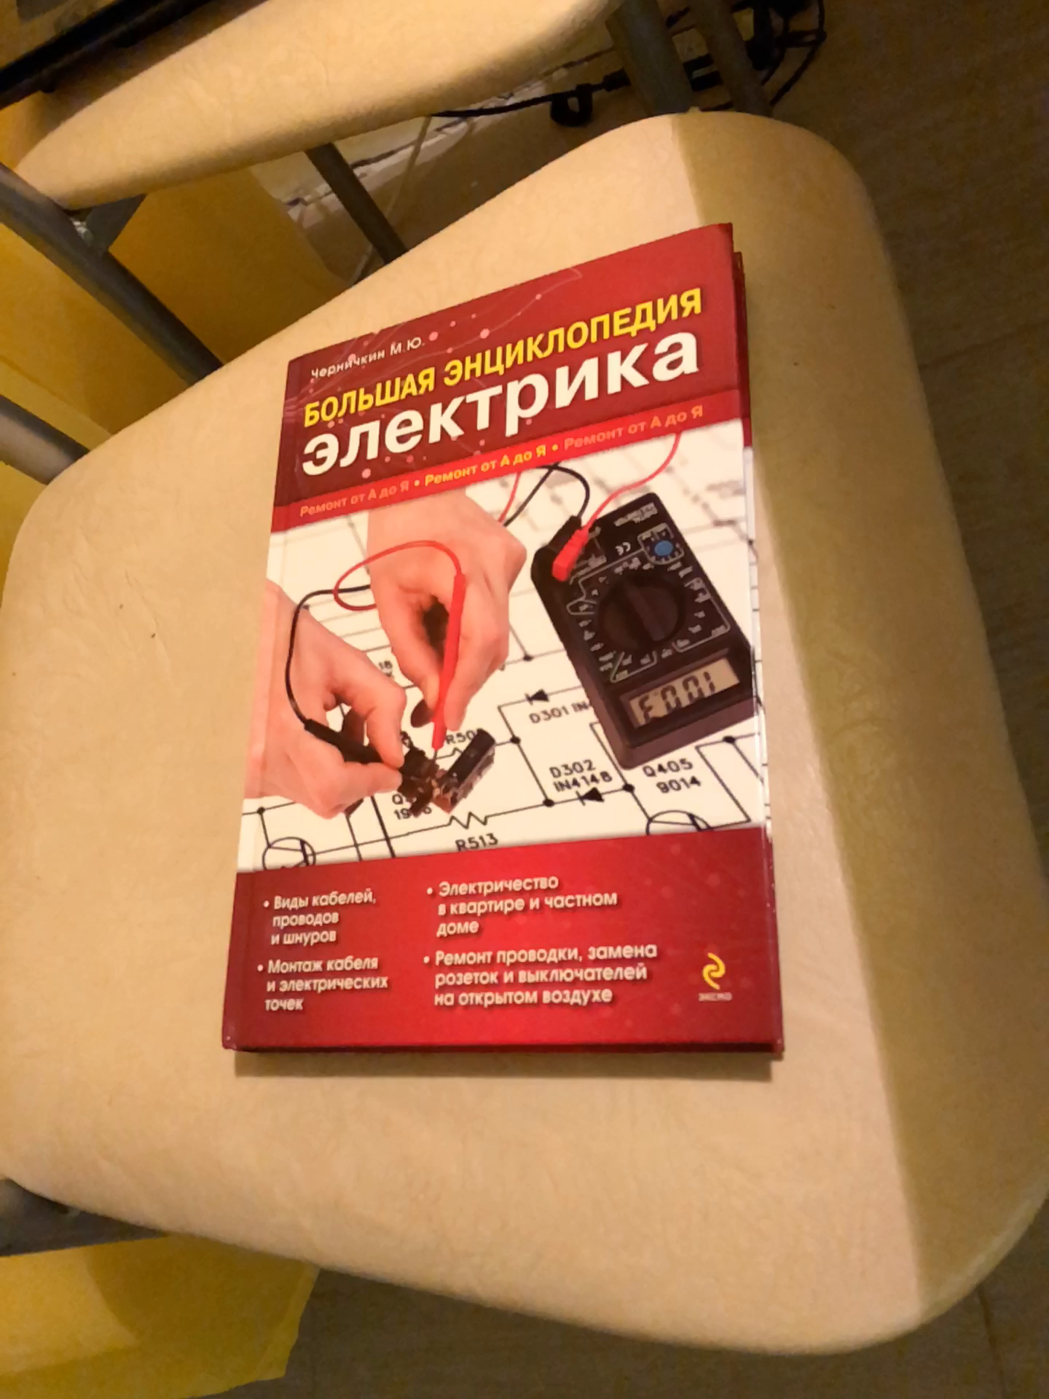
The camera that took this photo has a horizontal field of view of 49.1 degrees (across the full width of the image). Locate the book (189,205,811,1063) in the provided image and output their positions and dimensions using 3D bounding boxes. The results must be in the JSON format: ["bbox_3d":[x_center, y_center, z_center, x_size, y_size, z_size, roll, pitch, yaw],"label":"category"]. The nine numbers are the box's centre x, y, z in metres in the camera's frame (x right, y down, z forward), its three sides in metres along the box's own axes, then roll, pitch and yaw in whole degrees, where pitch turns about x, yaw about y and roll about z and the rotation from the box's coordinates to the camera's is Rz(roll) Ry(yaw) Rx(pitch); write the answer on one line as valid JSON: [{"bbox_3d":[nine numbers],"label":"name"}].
[{"bbox_3d":[-0.010,-0.017,0.348,0.172,0.030,0.241,-8,68,25],"label":"book"}]
